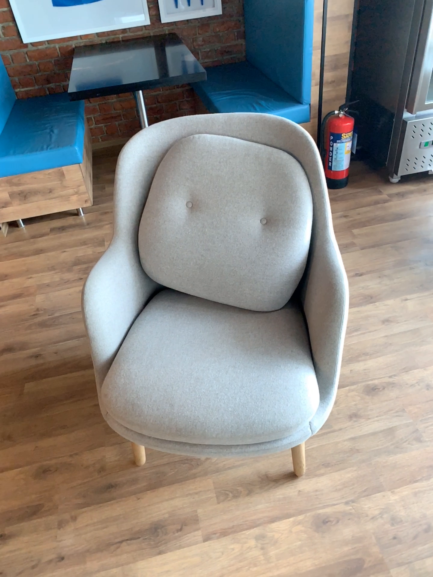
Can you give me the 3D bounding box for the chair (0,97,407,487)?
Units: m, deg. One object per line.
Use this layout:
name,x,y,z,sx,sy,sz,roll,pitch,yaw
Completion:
chair,-0.005,0.014,1.306,0.750,0.833,0.746,-3,39,5
